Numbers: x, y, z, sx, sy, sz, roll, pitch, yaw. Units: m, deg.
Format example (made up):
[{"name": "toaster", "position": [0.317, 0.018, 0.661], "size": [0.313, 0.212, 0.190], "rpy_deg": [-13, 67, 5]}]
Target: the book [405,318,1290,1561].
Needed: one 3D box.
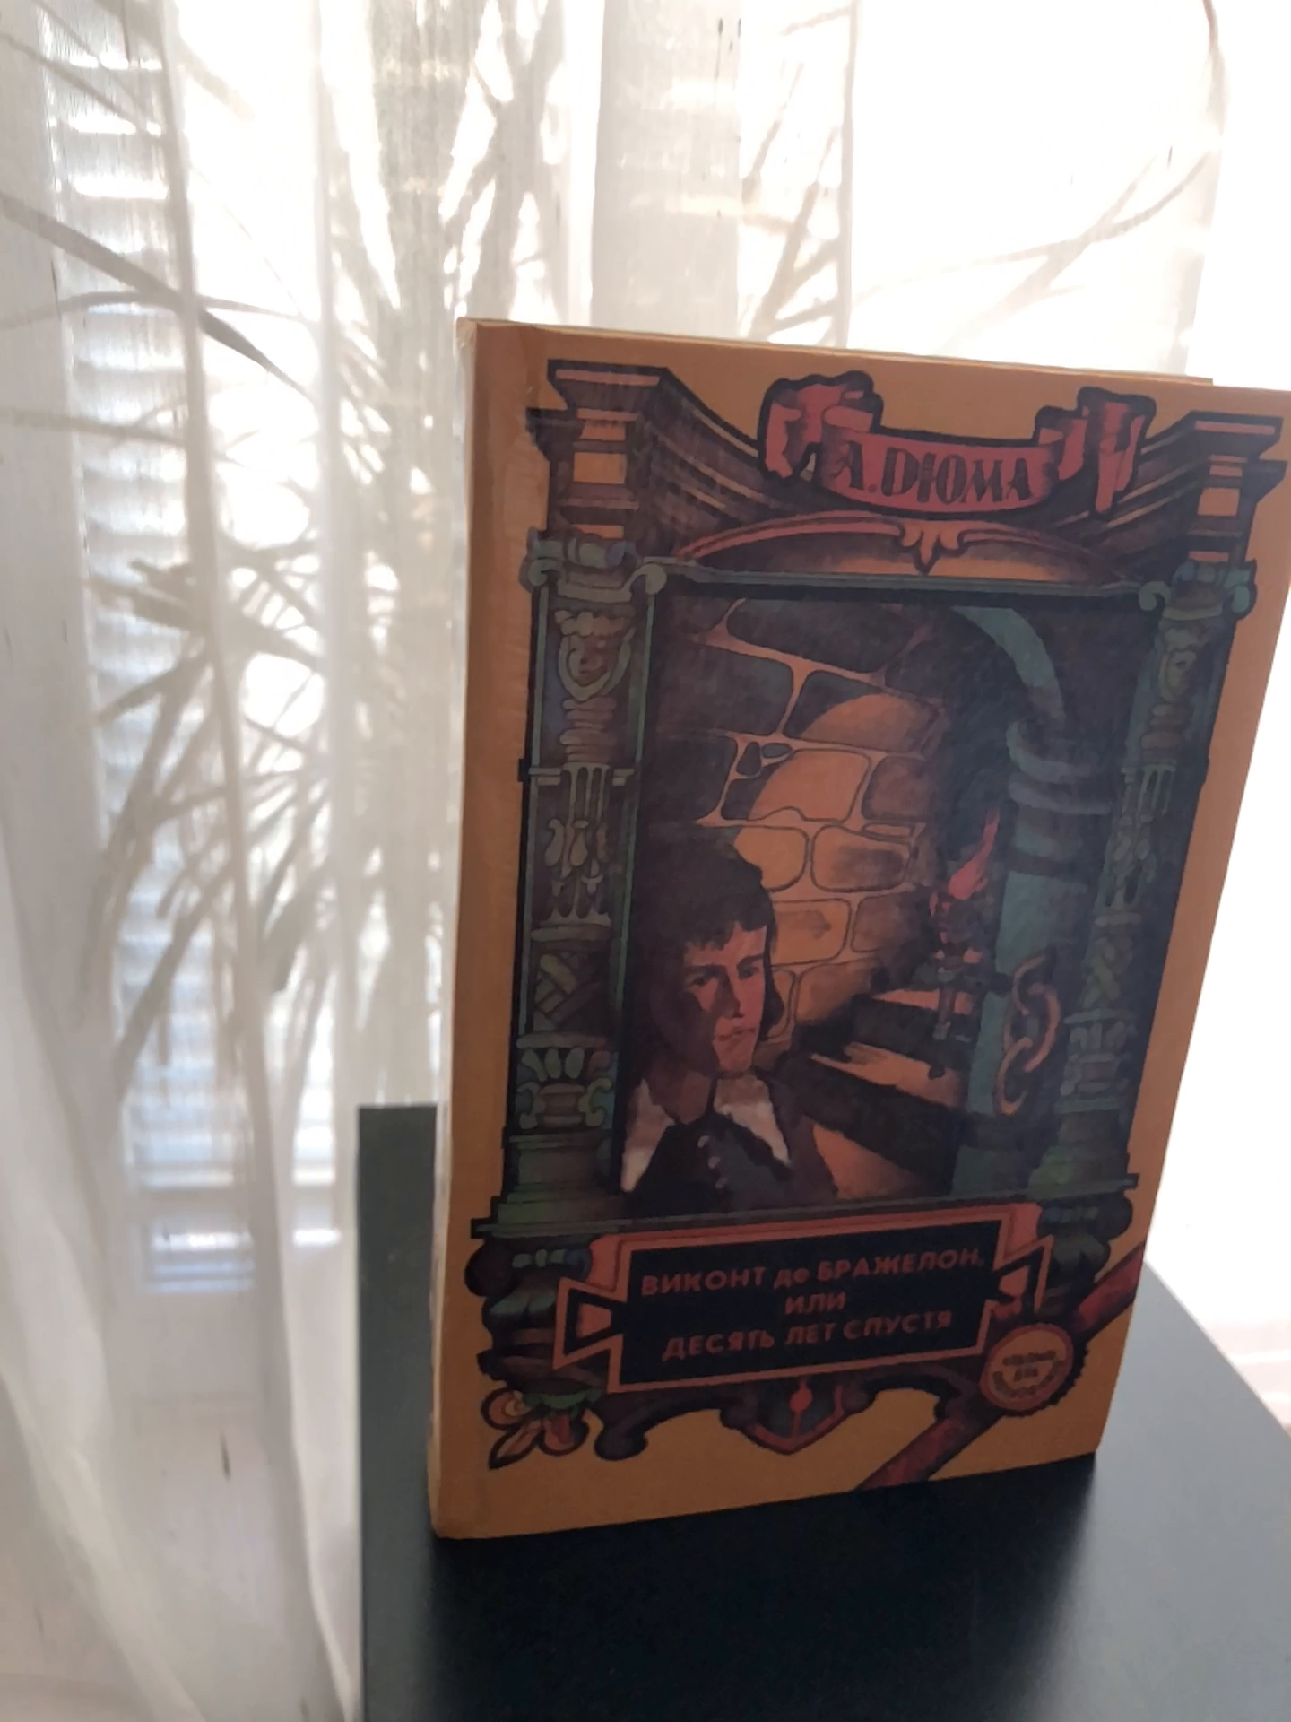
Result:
[{"name": "book", "position": [0.032, 0.016, 0.249], "size": [0.141, 0.198, 0.040], "rpy_deg": [-1, 19, -13]}]
